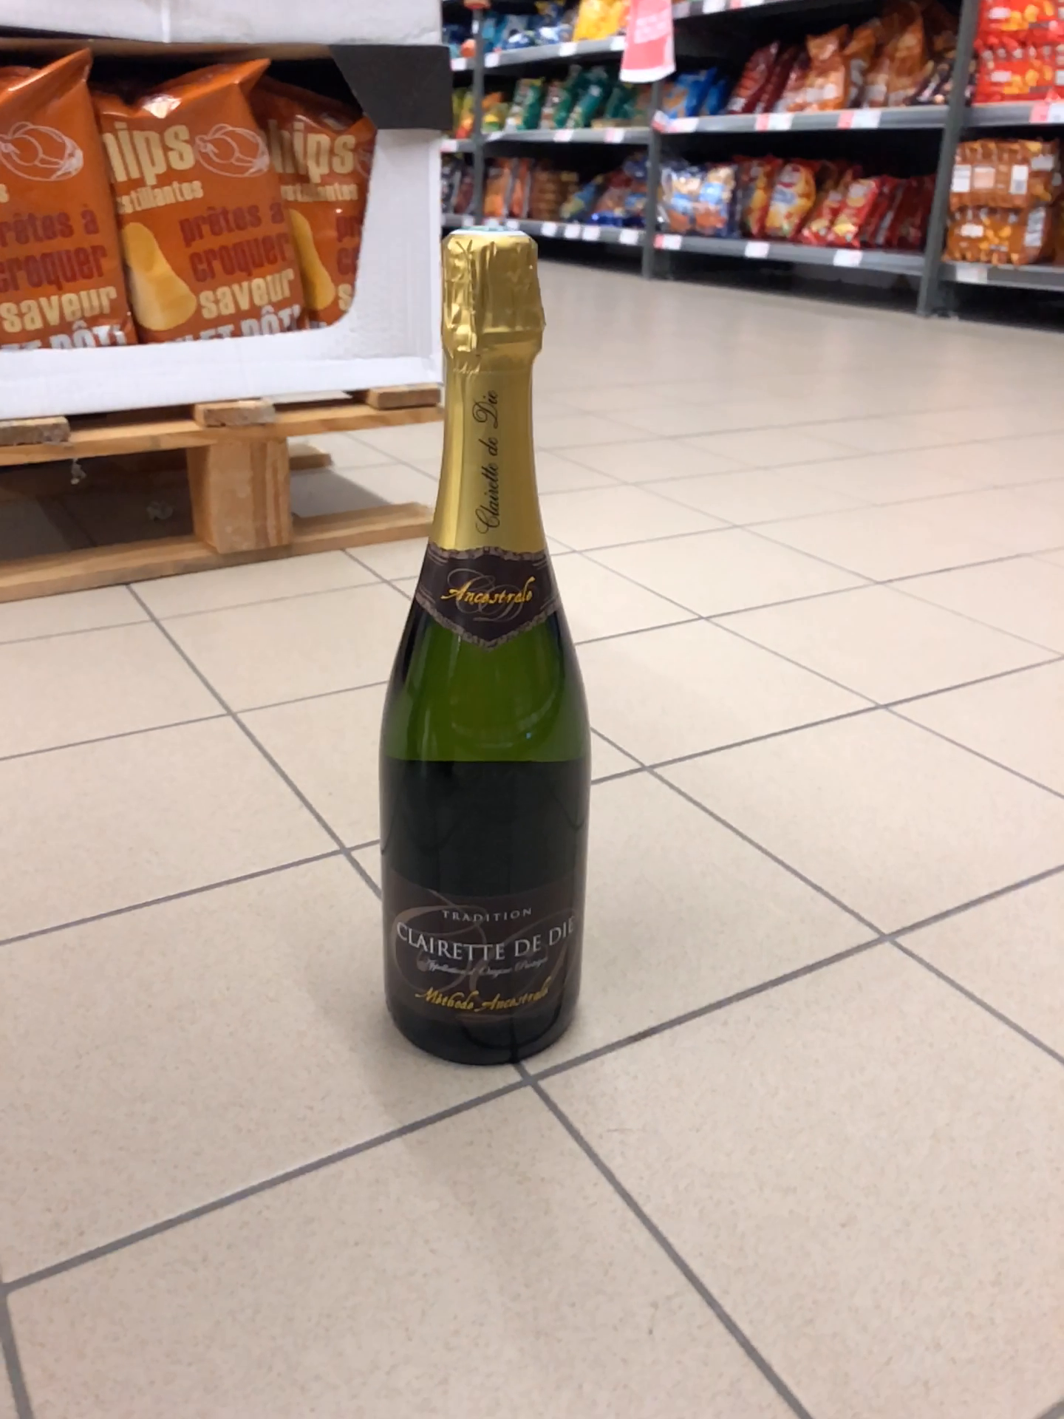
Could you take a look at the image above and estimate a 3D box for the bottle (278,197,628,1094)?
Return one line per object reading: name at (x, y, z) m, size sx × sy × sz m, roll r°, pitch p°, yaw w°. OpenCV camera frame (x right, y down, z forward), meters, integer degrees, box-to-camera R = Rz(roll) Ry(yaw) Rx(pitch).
bottle at (-0.021, -0.019, 0.442) m, size 0.100 × 0.318 × 0.101 m, roll 1°, pitch 23°, yaw 0°
